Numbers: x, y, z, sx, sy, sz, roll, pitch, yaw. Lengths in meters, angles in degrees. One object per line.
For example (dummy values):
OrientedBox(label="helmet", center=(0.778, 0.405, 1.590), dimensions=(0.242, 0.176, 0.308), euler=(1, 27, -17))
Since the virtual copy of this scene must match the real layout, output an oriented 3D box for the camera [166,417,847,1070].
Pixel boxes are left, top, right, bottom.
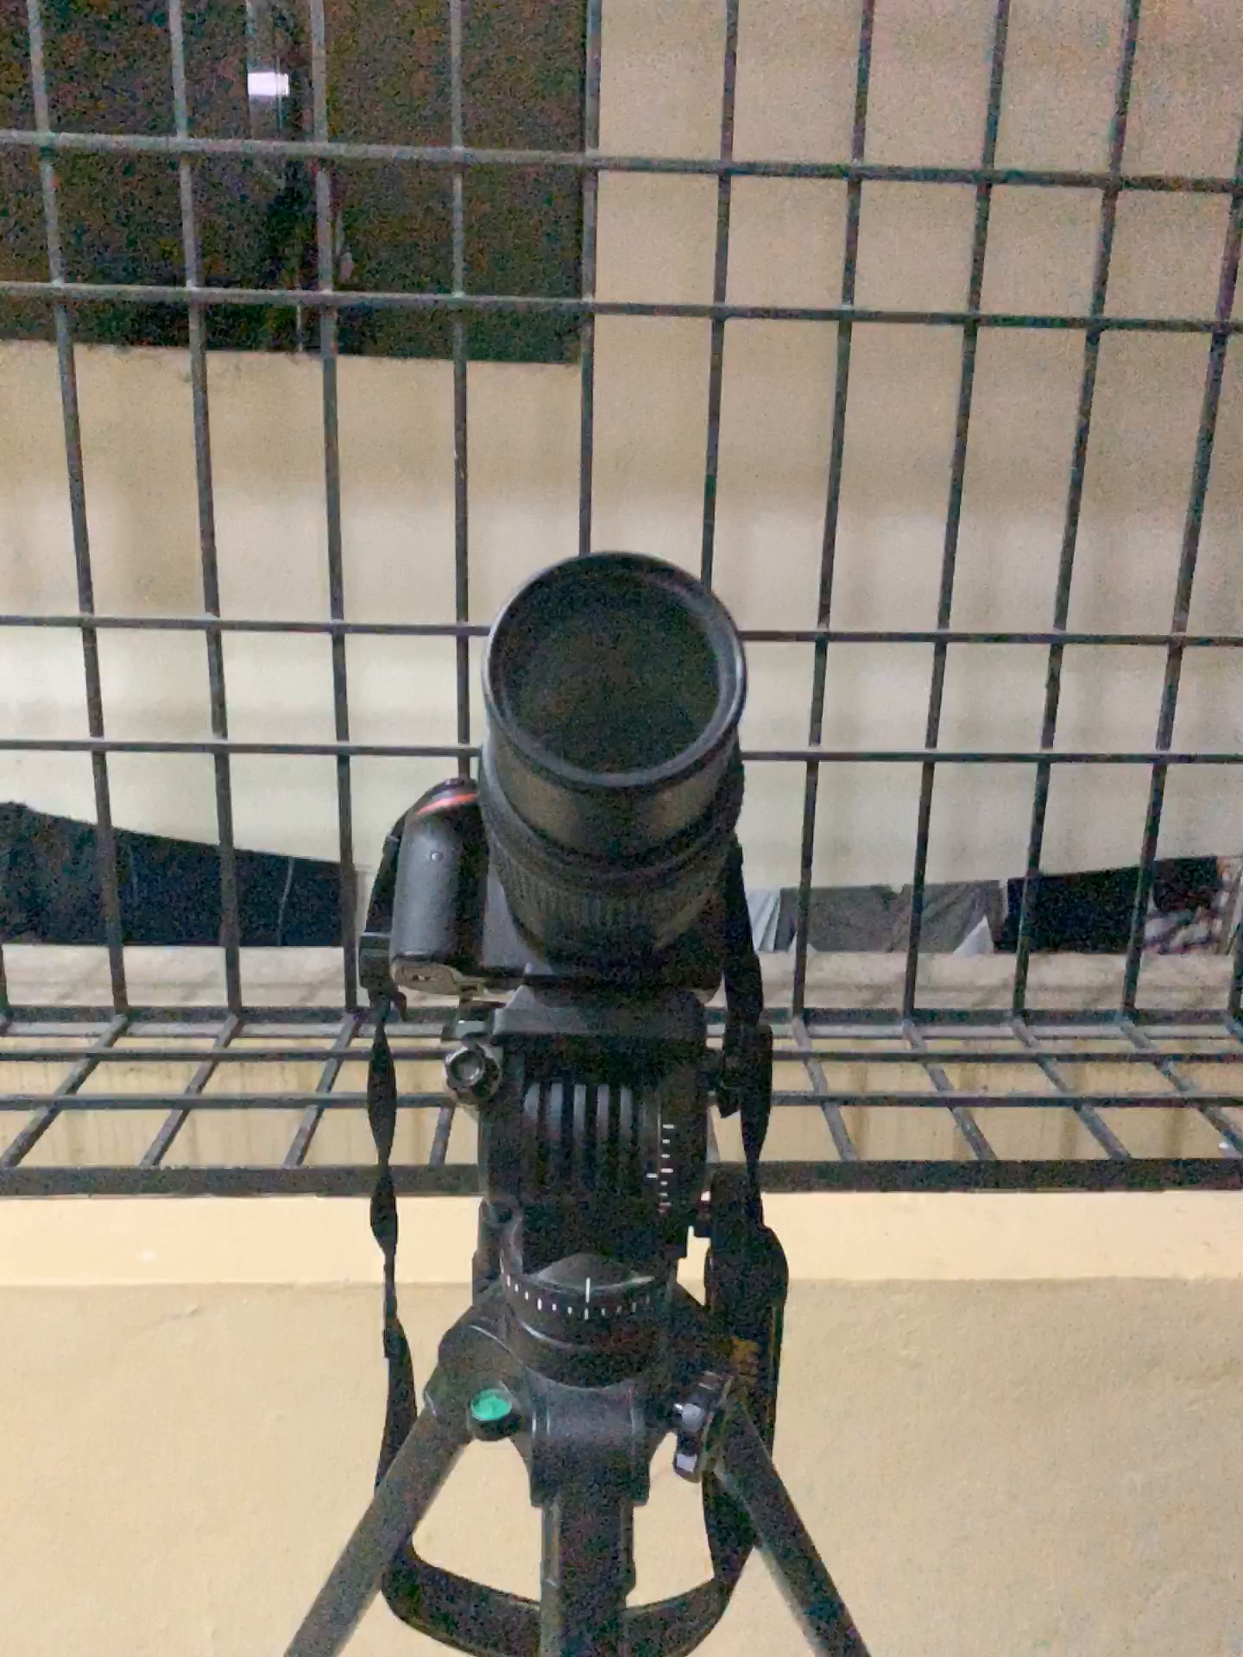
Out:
OrientedBox(label="camera", center=(-0.022, -0.005, 0.369), dimensions=(0.136, 0.100, 0.209), euler=(2, -24, 0))
